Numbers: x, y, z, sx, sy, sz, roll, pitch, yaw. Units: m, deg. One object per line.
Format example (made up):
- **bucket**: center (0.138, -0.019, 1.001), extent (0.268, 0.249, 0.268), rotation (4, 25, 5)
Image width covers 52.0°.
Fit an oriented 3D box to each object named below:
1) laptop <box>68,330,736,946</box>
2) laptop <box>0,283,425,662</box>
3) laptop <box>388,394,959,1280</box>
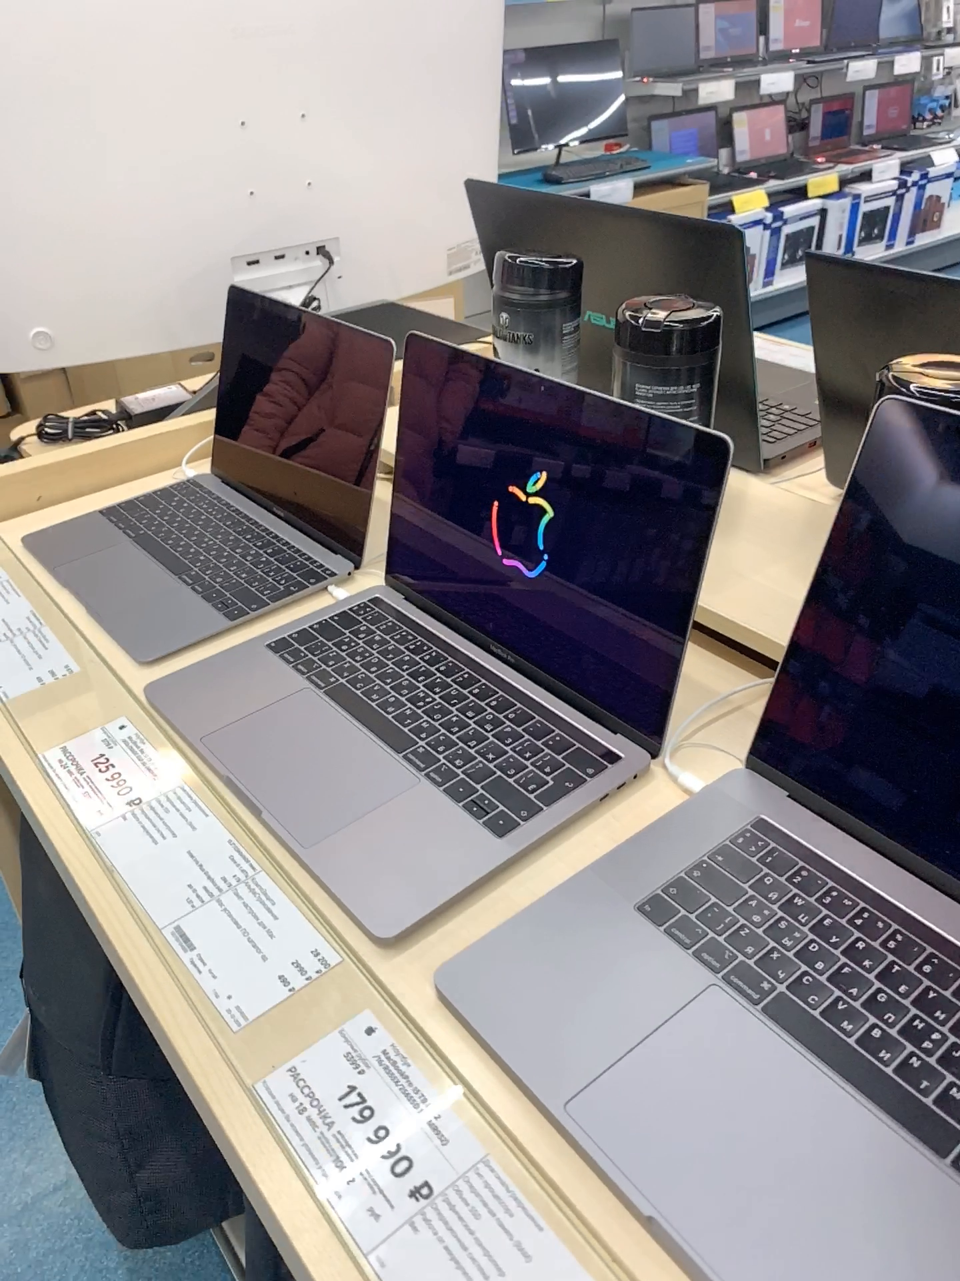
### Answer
- **laptop**: center (-0.052, -0.037, 0.617), extent (0.260, 0.195, 0.300), rotation (-27, 40, -31)
- **laptop**: center (-0.244, -0.166, 0.846), extent (0.266, 0.172, 0.281), rotation (-28, 41, -30)
- **laptop**: center (0.205, 0.086, 0.387), extent (0.327, 0.210, 0.348), rotation (-25, 39, -30)
